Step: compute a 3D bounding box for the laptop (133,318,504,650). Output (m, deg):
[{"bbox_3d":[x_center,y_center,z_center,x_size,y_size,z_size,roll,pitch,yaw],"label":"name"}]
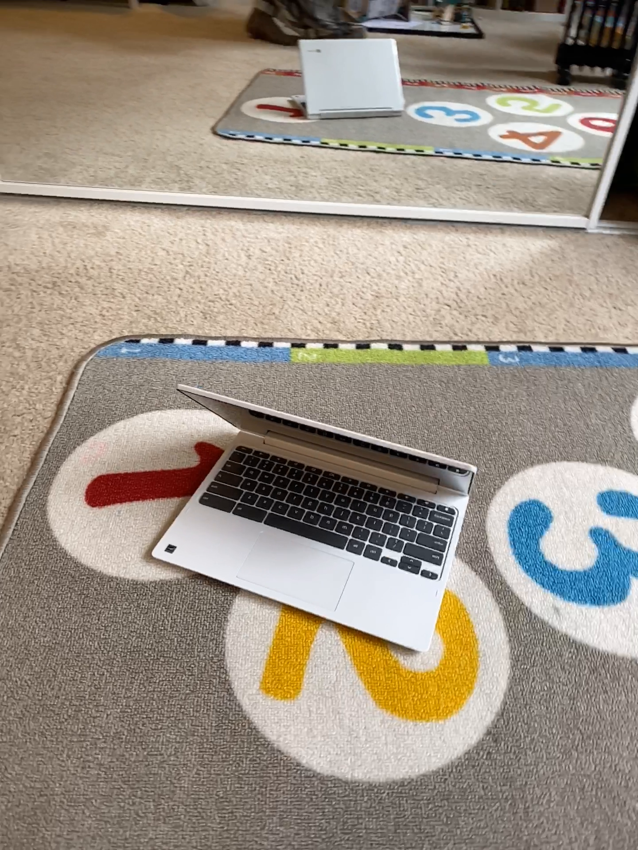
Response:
[{"bbox_3d":[0.008,0.046,0.671,0.299,0.162,0.217,16,42,14],"label":"laptop"}]
